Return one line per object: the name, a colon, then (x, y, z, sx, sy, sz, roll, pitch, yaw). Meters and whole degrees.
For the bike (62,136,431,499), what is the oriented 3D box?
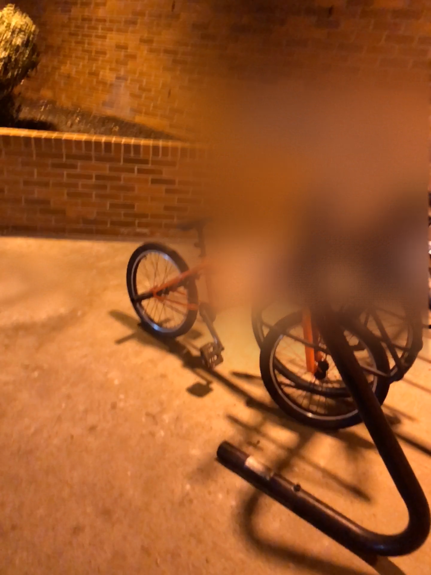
bike: (0.104, -0.040, 1.928, 1.293, 0.927, 0.746, 22, 29, 32)
